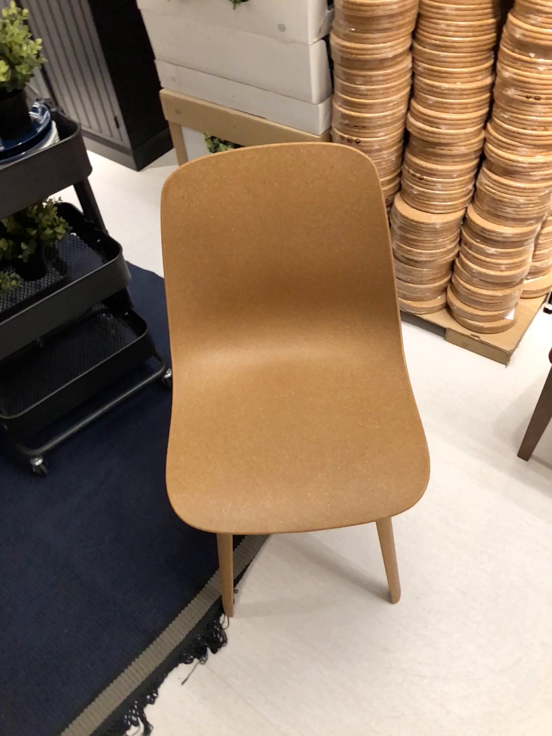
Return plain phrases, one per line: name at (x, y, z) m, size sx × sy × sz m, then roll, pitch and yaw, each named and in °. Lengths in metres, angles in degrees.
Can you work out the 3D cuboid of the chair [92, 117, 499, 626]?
chair at (0.037, 0.056, 1.116) m, size 0.440 × 0.746 × 0.553 m, roll -6°, pitch 50°, yaw 2°
